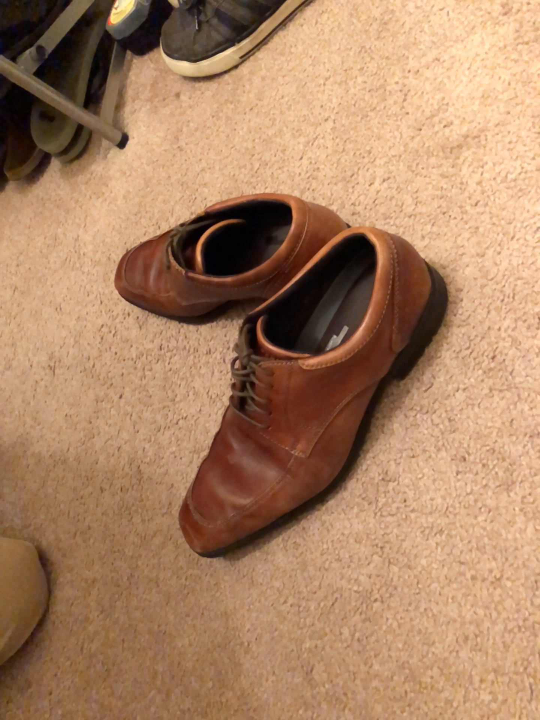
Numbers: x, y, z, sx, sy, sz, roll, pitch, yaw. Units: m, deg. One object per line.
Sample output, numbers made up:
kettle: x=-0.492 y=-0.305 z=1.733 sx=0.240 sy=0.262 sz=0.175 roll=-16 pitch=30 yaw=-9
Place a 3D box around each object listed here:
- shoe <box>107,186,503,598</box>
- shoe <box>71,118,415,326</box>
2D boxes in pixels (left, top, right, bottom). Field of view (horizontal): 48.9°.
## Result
shoe: x=0.020 y=0.037 z=0.456 sx=0.300 sy=0.110 sz=0.100 roll=-51 pitch=52 yaw=13
shoe: x=-0.036 y=-0.108 z=0.562 sx=0.301 sy=0.120 sz=0.120 roll=2 pitch=76 yaw=38
